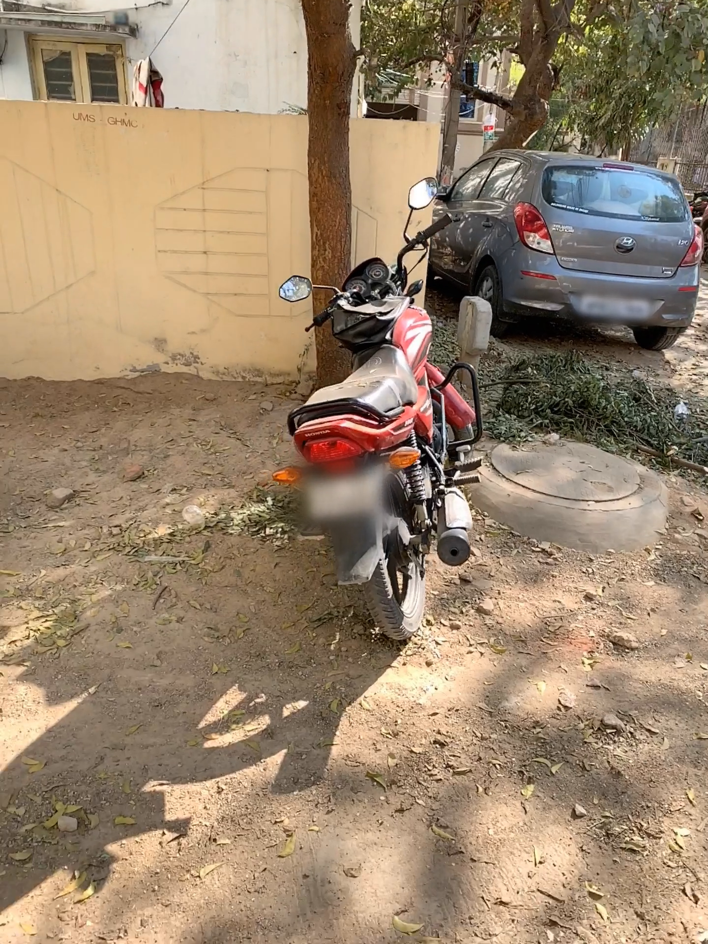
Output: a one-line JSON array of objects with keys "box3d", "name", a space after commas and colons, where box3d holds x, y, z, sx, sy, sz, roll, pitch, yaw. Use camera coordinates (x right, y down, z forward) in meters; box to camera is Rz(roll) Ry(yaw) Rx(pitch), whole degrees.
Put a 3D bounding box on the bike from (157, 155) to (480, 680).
[{"box3d": [-0.100, -0.389, 2.656, 0.775, 1.179, 1.650, 3, 28, 1], "name": "bike"}]
